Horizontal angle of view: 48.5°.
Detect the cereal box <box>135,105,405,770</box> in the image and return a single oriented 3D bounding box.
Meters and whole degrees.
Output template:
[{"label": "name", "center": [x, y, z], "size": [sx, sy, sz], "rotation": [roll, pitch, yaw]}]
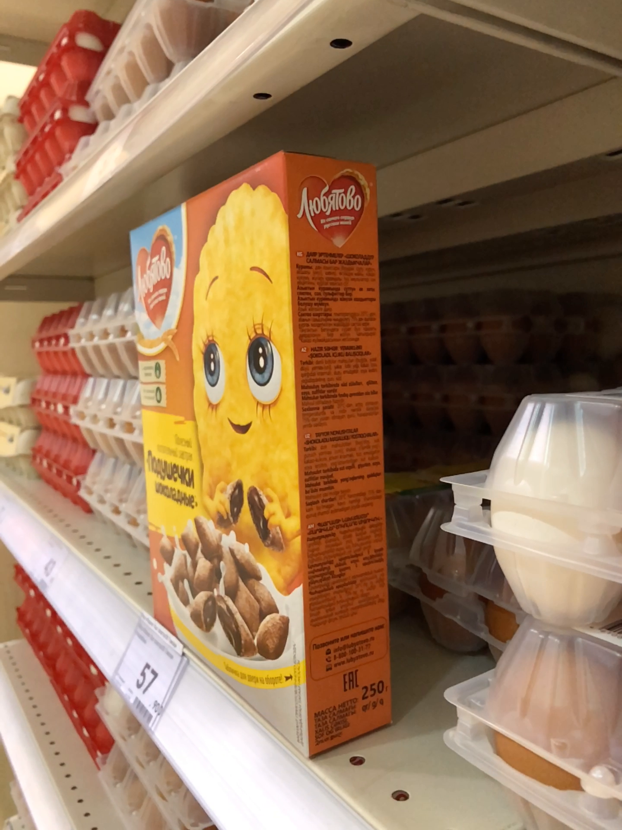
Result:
[{"label": "cereal box", "center": [-0.031, 0.005, 0.334], "size": [0.040, 0.240, 0.180], "rotation": [-5, 6, -32]}]
